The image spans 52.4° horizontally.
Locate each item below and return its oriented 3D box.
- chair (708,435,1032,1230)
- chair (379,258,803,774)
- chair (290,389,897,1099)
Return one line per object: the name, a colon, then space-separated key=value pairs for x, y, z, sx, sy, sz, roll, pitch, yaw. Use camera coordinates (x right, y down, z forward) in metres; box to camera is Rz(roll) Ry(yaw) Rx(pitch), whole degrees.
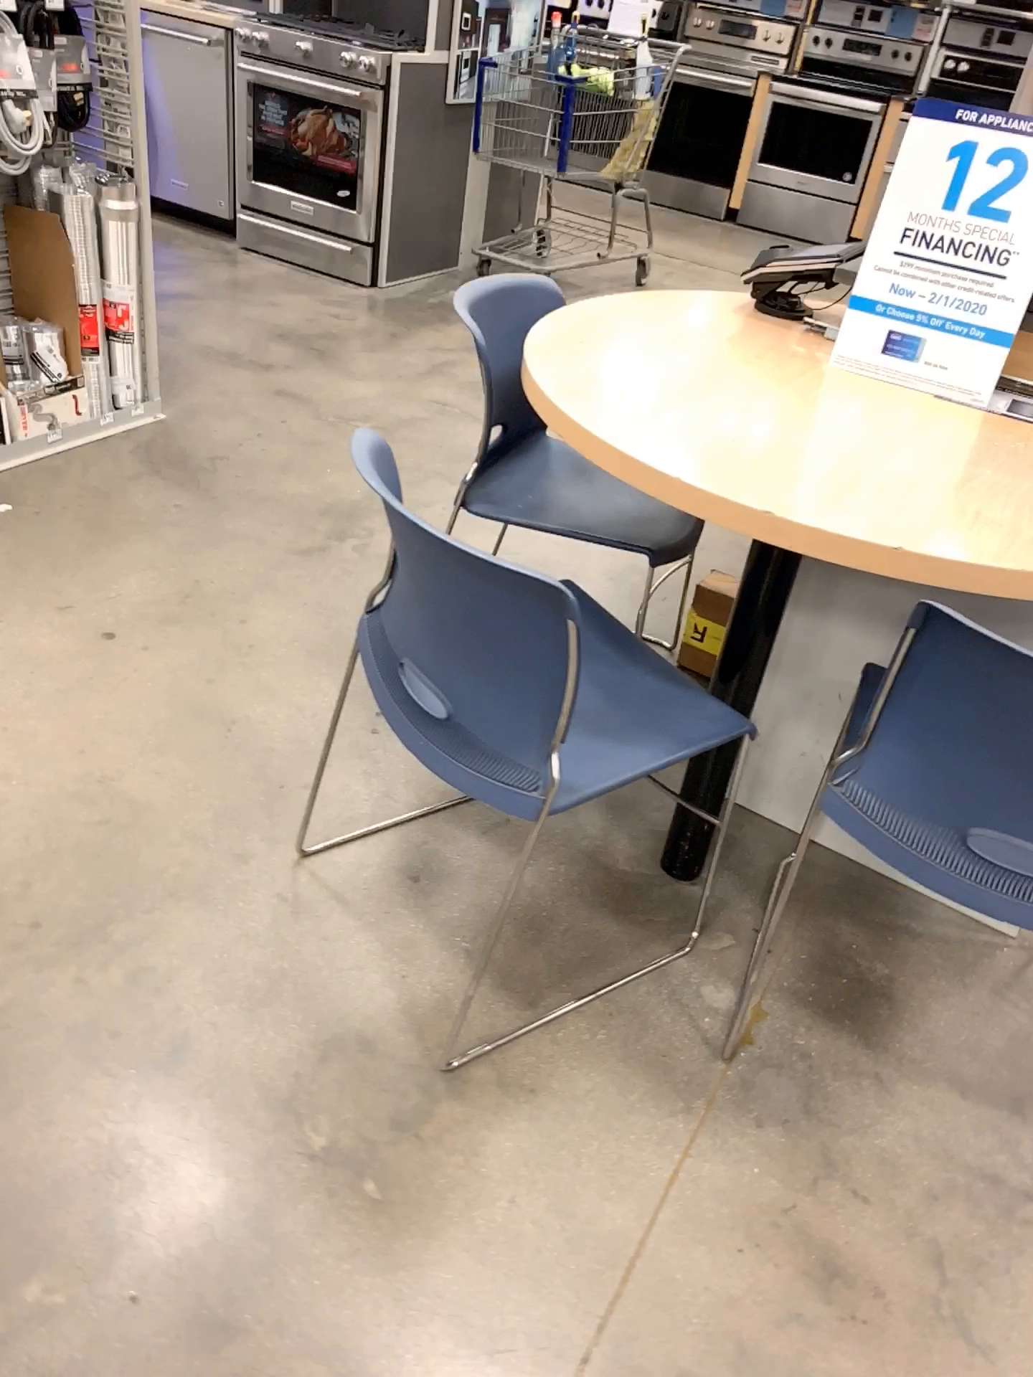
chair: x=0.639 y=0.167 z=1.378 sx=0.484 sy=0.749 sz=0.534 roll=20 pitch=36 yaw=14
chair: x=0.129 y=-0.346 z=2.028 sx=0.571 sy=0.729 sz=0.486 roll=19 pitch=35 yaw=13
chair: x=0.047 y=0.048 z=1.489 sx=0.552 sy=0.749 sz=0.485 roll=-16 pitch=42 yaw=-32
